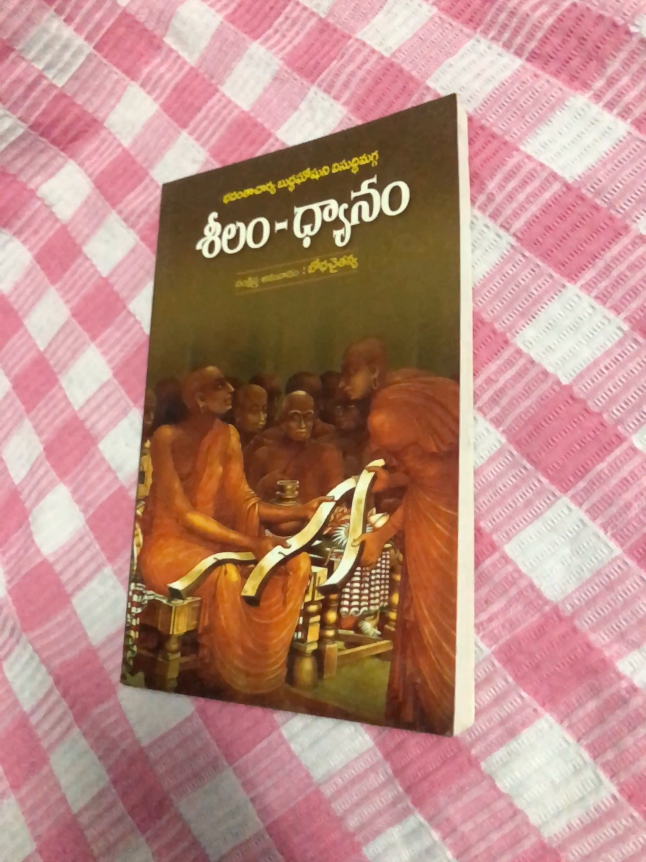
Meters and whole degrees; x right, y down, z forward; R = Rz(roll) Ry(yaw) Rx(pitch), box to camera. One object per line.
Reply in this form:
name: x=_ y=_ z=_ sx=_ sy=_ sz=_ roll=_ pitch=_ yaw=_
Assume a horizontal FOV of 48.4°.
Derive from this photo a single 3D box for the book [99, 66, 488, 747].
book: x=-0.013 y=-0.010 z=0.259 sx=0.140 sy=0.020 sz=0.210 roll=-4 pitch=79 yaw=28
